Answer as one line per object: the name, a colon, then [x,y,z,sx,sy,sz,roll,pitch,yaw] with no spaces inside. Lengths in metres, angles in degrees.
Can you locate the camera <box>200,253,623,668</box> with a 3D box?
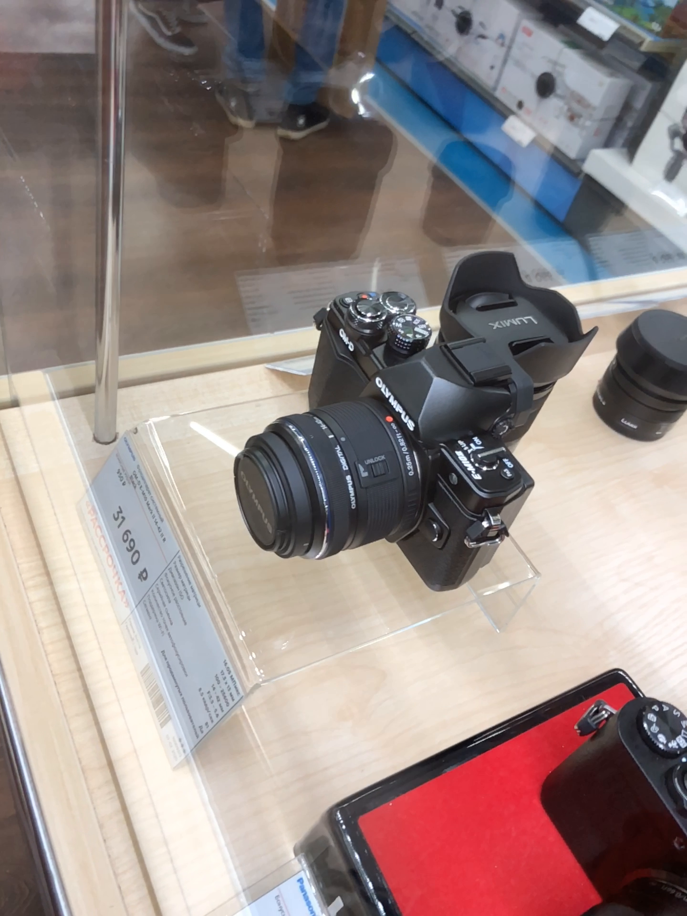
camera: [0.016,-0.006,0.301,0.101,0.088,0.118,-13,53,-28]

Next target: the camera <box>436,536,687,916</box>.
camera: [0.100,0.107,0.189,0.072,0.109,0.118,-13,53,-28]
